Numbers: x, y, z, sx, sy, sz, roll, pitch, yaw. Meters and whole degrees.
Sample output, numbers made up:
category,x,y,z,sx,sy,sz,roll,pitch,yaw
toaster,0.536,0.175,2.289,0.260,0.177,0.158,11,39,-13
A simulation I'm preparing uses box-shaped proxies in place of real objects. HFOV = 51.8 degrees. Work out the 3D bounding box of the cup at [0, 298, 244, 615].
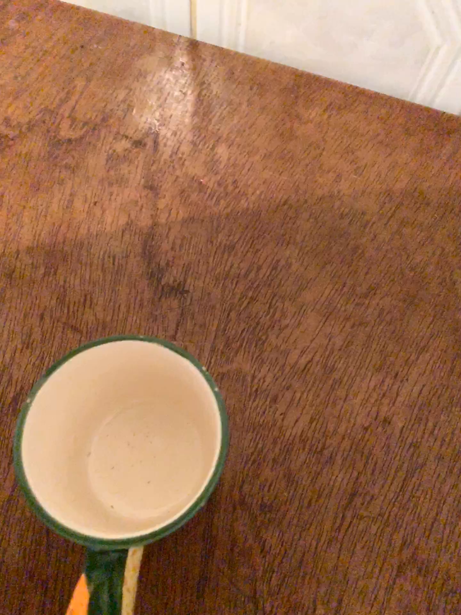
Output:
category,x,y,z,sx,sy,sz,roll,pitch,yaw
cup,-0.043,0.080,0.210,0.080,0.100,0.130,6,66,-1
